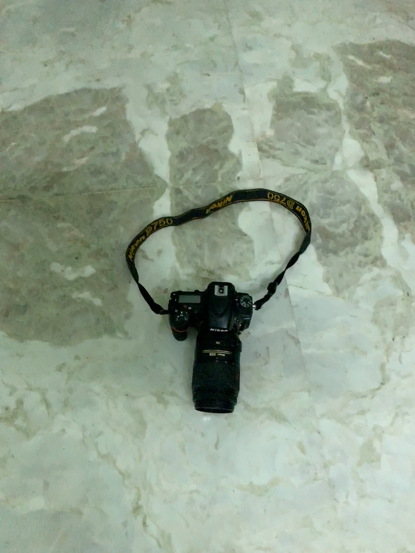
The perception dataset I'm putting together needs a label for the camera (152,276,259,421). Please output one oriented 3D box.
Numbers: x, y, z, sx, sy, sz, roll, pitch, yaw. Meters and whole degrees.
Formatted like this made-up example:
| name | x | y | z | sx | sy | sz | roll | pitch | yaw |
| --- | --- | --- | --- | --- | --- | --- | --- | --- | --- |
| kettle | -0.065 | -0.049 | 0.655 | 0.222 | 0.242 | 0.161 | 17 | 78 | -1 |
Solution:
| name | x | y | z | sx | sy | sz | roll | pitch | yaw |
| --- | --- | --- | --- | --- | --- | --- | --- | --- | --- |
| camera | 0.004 | 0.118 | 0.693 | 0.150 | 0.120 | 0.200 | 3 | 62 | 2 |
